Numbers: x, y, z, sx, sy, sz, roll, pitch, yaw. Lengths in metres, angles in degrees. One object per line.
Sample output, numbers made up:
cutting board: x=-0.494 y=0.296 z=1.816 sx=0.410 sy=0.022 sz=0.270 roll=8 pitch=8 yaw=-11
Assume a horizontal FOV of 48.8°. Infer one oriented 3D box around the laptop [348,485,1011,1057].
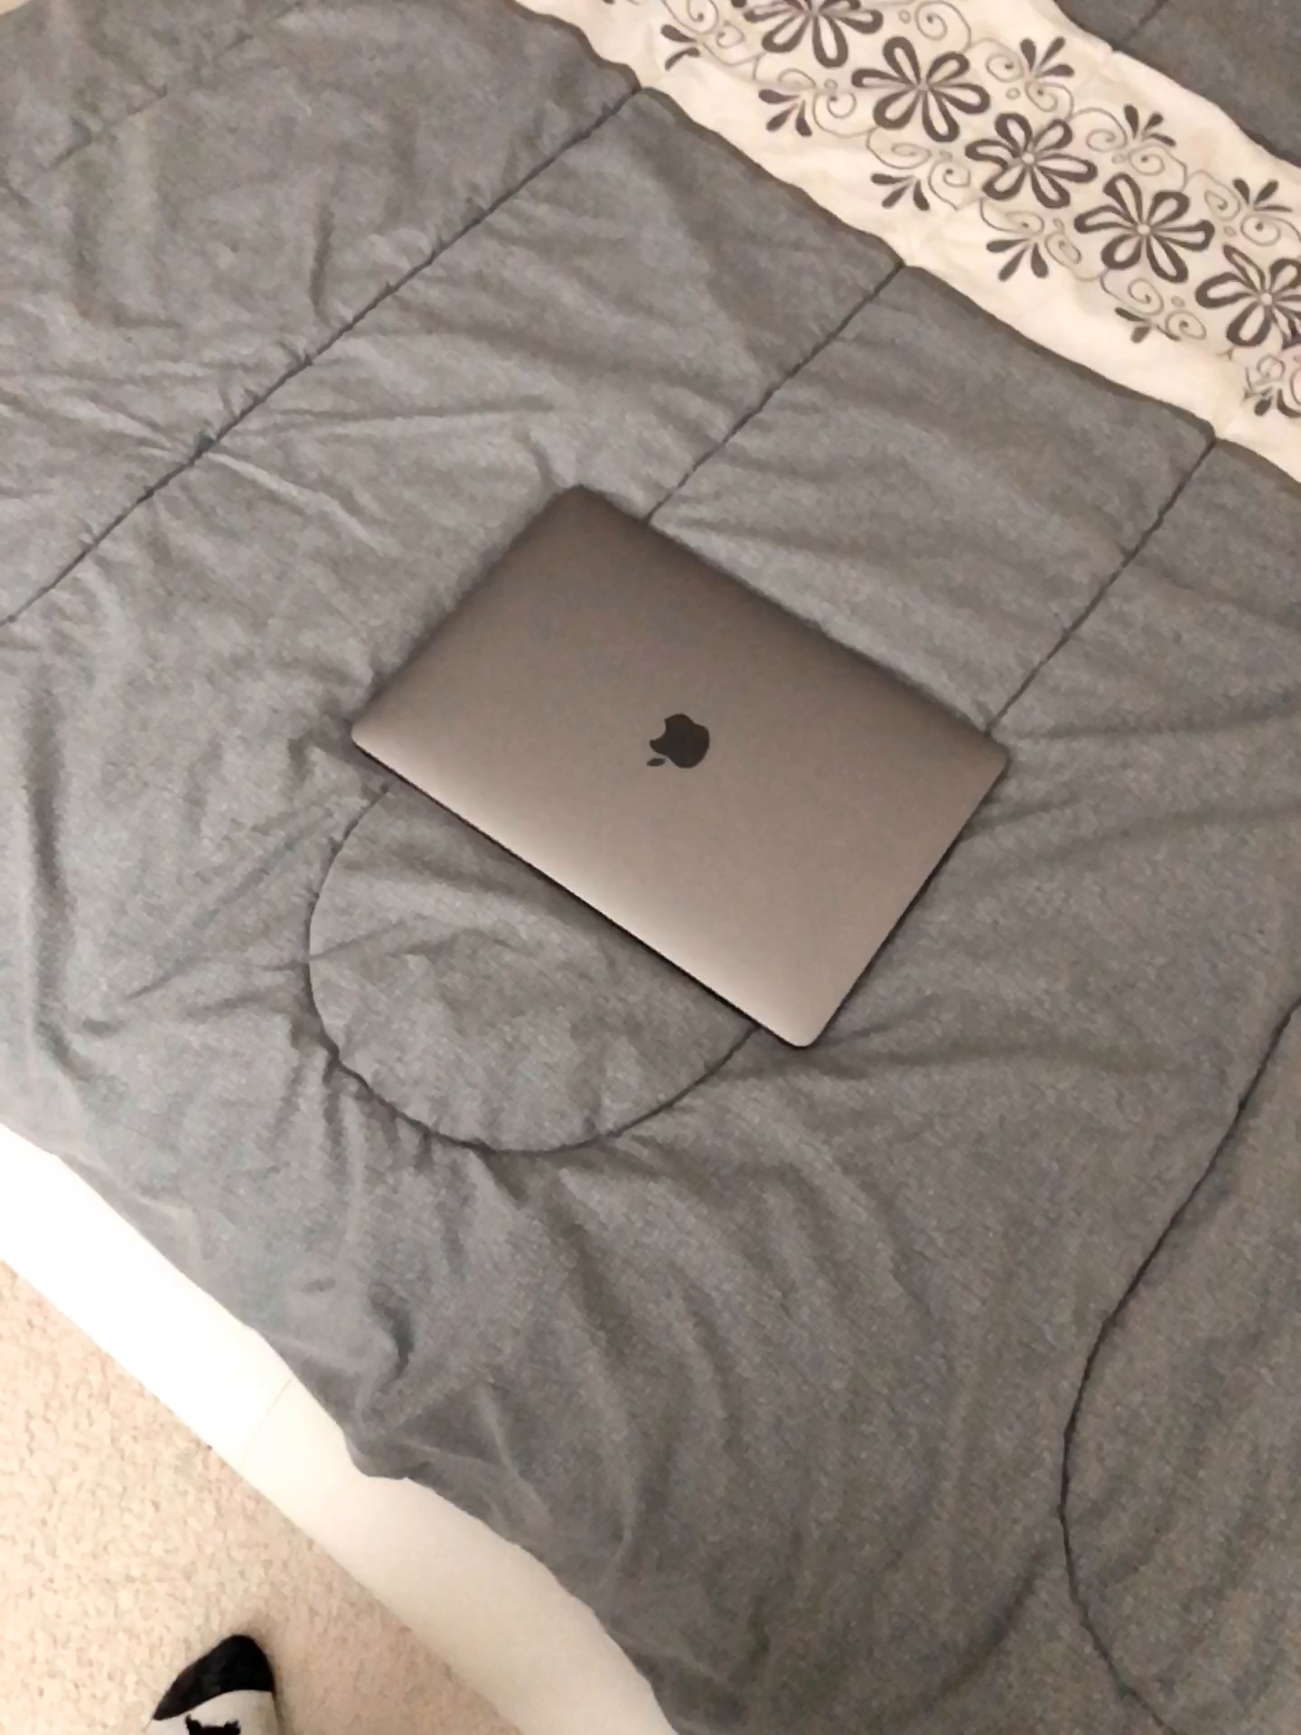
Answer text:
laptop: x=0.017 y=-0.064 z=0.784 sx=0.295 sy=0.008 sz=0.207 roll=34 pitch=71 yaw=11
